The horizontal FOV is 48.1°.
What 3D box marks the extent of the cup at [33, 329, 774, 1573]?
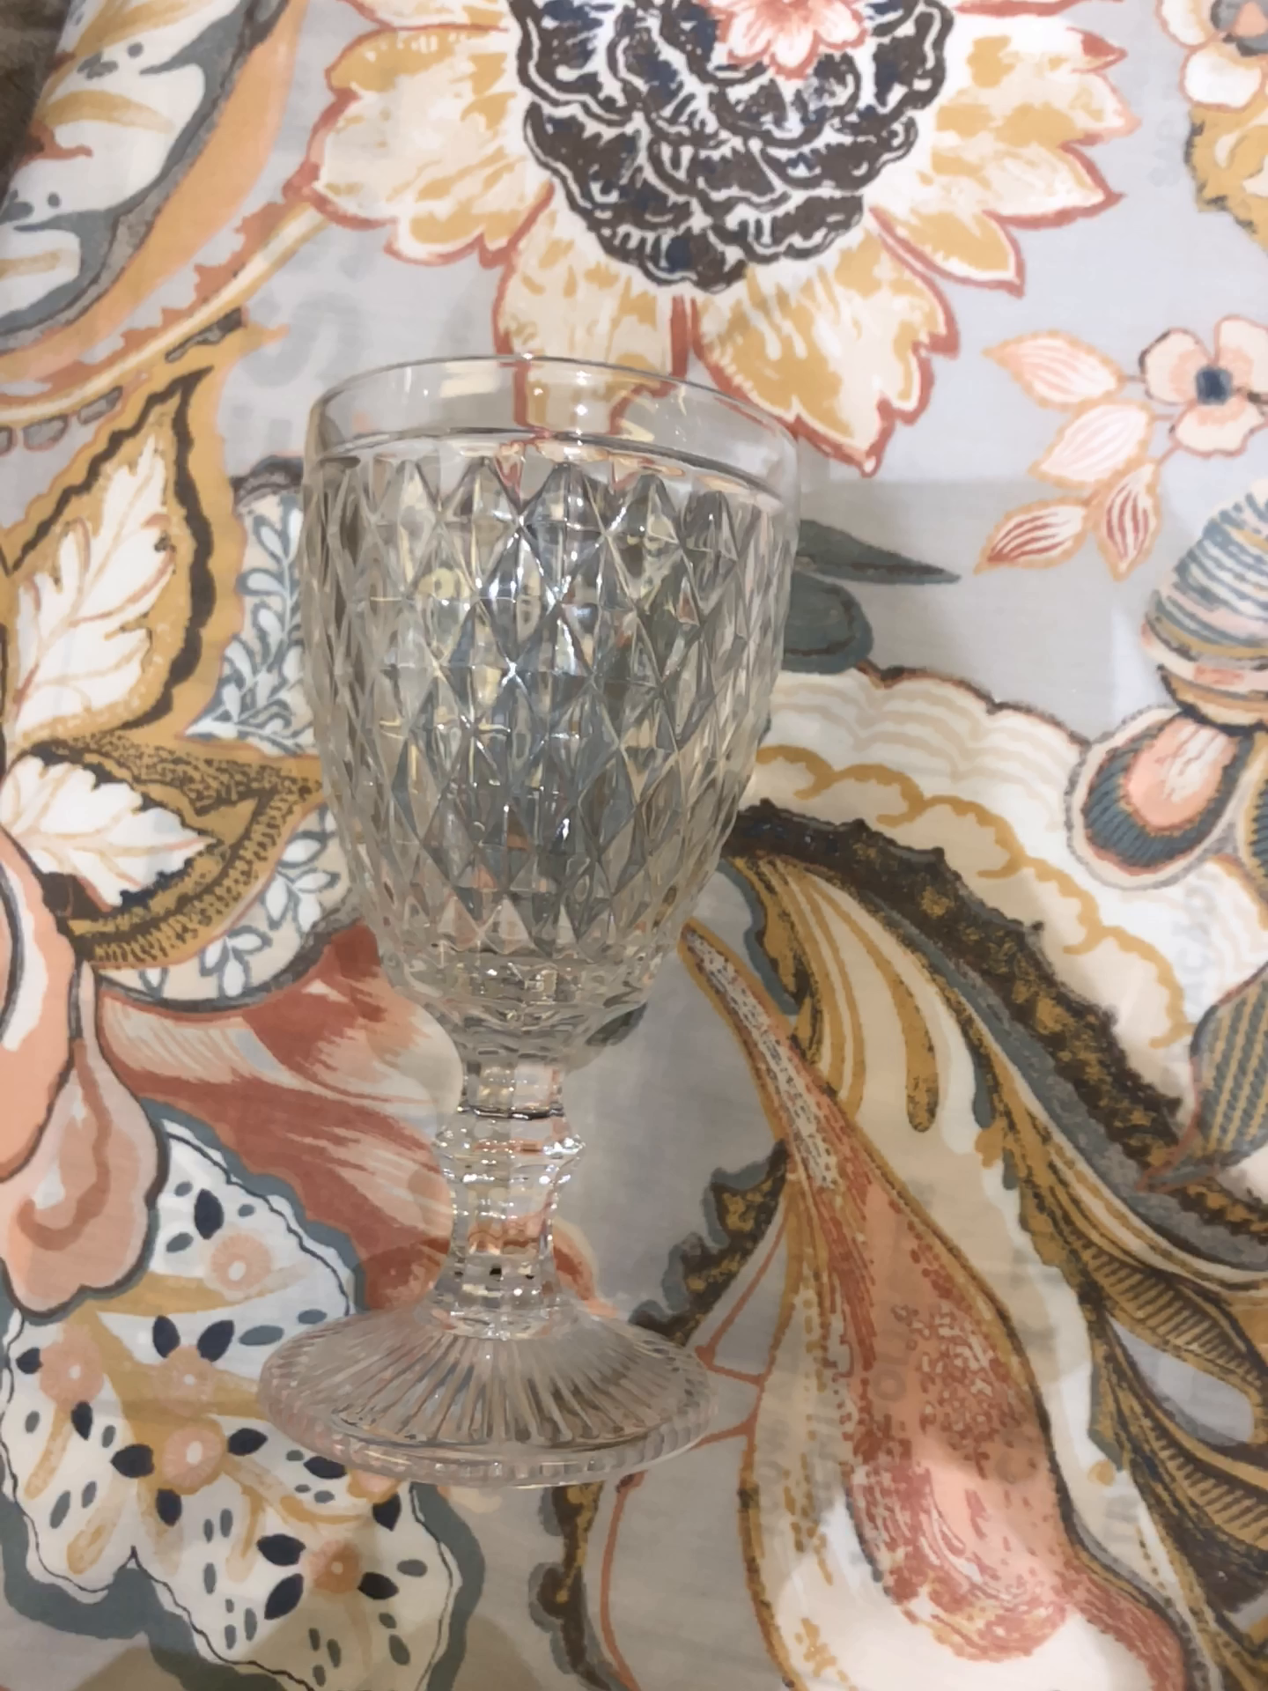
[{"bbox_3d":[-0.028,0.014,0.242,0.090,0.080,0.170,4,84,6],"label":"cup"}]
